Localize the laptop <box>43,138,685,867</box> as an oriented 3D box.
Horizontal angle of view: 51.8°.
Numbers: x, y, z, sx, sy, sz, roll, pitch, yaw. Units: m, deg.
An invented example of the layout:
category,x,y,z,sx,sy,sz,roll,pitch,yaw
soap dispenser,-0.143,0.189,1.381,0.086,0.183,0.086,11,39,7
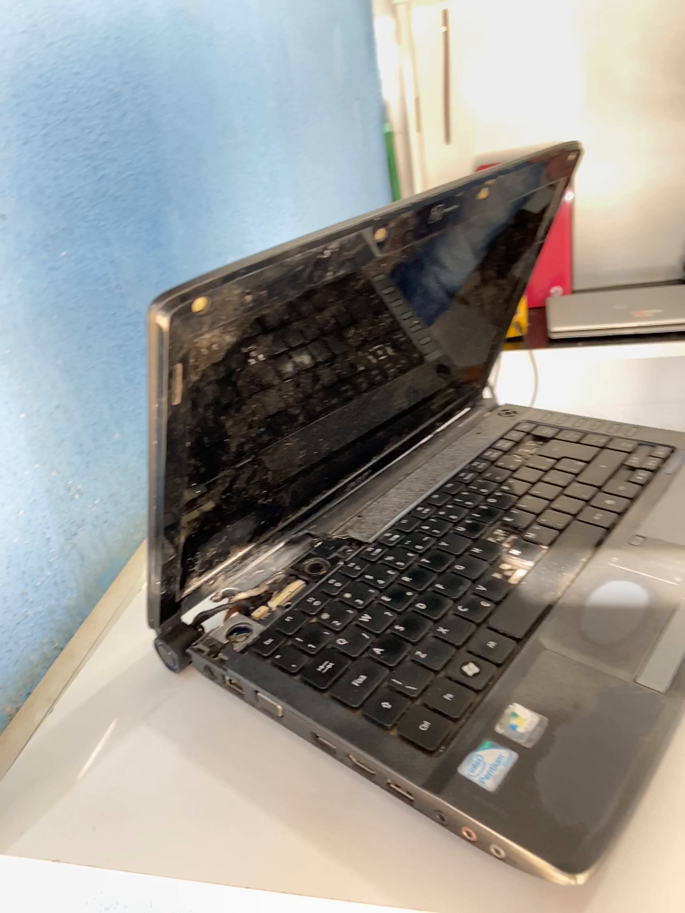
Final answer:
category,x,y,z,sx,sy,sz,roll,pitch,yaw
laptop,0.084,-0.038,0.372,0.229,0.182,0.335,14,34,39
